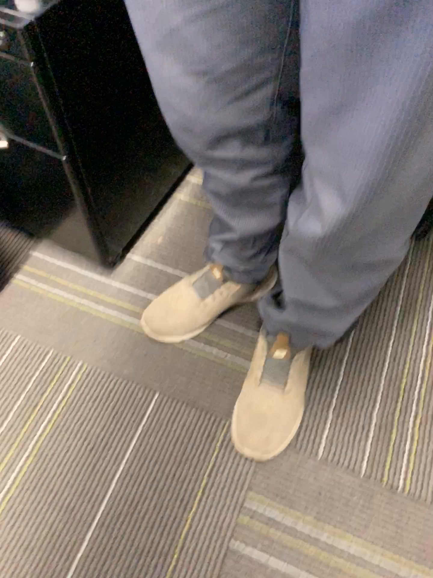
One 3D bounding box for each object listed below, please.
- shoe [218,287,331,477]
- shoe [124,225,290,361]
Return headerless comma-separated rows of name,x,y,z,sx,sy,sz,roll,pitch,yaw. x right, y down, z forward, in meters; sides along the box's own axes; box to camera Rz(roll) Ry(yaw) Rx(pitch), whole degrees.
shoe,0.109,0.161,0.815,0.126,0.098,0.302,16,60,8
shoe,-0.015,0.004,0.875,0.302,0.098,0.107,-29,64,-18
